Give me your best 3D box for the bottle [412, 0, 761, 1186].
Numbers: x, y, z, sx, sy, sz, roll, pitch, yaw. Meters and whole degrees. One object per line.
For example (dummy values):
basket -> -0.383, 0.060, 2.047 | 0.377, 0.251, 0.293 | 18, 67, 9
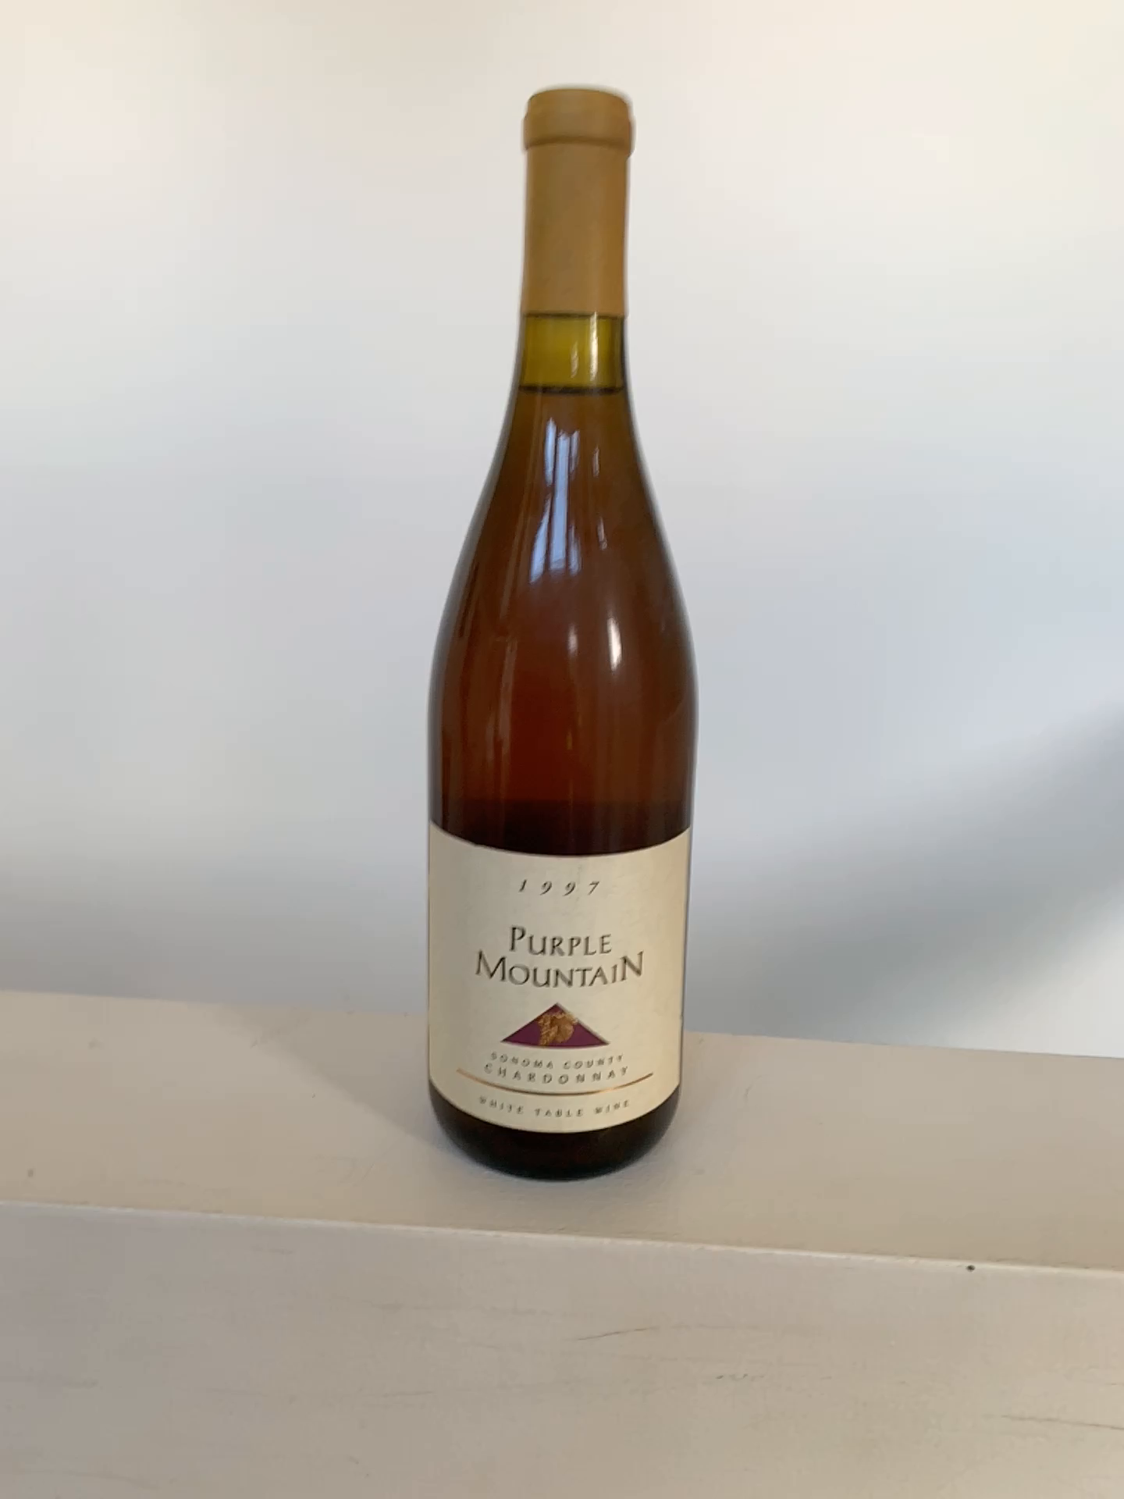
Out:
bottle -> 0.000, -0.031, 0.343 | 0.080, 0.309, 0.080 | 2, 14, 0
